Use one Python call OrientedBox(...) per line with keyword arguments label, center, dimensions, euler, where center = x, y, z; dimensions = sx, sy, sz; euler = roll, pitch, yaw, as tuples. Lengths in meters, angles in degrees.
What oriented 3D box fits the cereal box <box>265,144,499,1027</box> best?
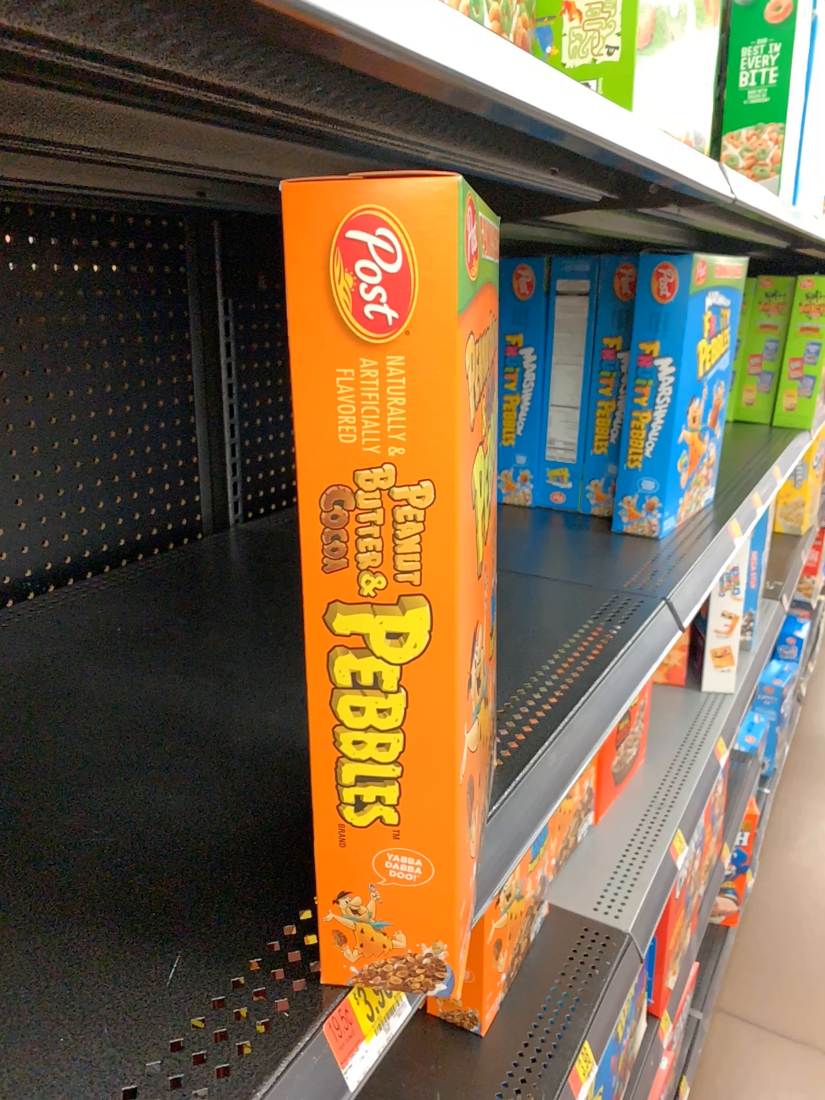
OrientedBox(label="cereal box", center=(0.003, 0.007, 0.407), dimensions=(0.060, 0.339, 0.201), euler=(2, 17, 9))
